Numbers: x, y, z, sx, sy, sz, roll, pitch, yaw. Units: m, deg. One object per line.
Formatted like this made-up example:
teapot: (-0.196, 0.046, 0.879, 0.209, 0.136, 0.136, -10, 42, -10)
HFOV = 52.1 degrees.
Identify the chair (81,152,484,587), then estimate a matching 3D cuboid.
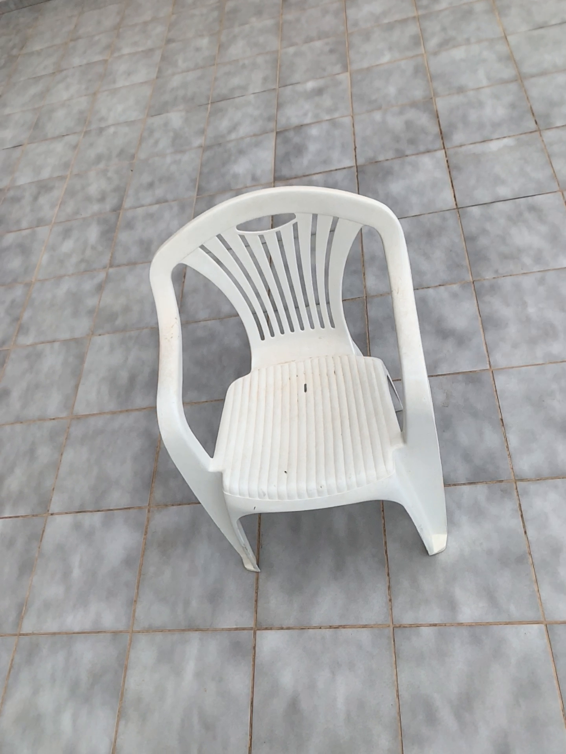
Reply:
chair: (0.047, 0.044, 1.224, 0.570, 0.668, 0.562, -10, 55, 10)
